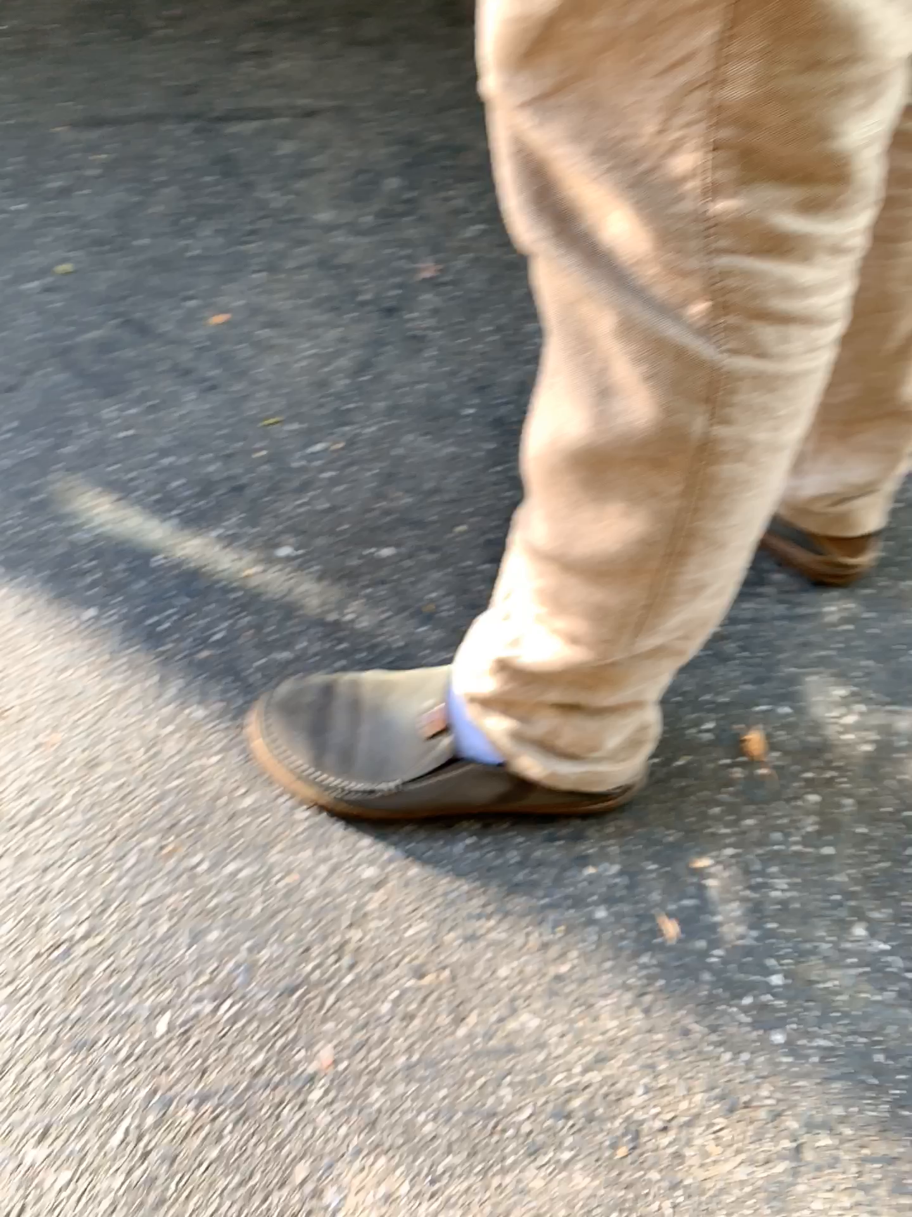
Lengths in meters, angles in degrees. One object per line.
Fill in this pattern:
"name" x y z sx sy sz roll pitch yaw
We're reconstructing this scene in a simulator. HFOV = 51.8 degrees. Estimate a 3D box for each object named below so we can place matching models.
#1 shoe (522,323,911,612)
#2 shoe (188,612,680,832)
"shoe" 0.218 -0.136 0.828 0.321 0.060 0.120 37 61 27
"shoe" -0.012 0.080 0.676 0.320 0.080 0.121 2 51 4
